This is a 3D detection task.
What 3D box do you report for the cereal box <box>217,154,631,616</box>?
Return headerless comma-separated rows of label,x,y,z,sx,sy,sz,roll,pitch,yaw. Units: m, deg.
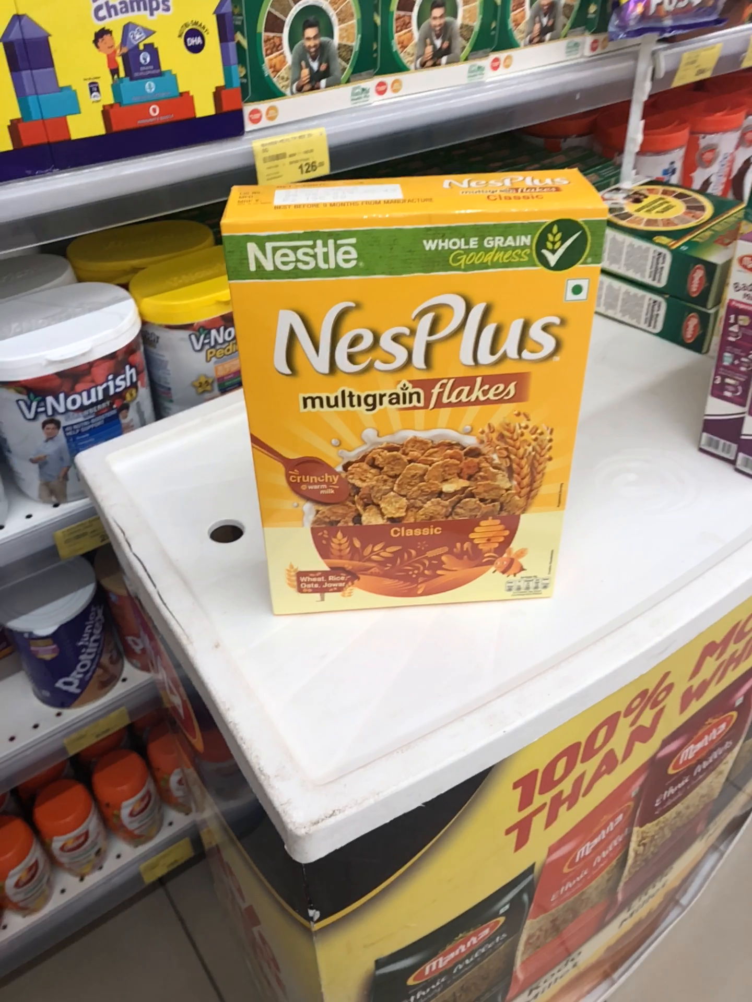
cereal box,0.024,-0.057,0.510,0.200,0.269,0.070,-4,38,-3
